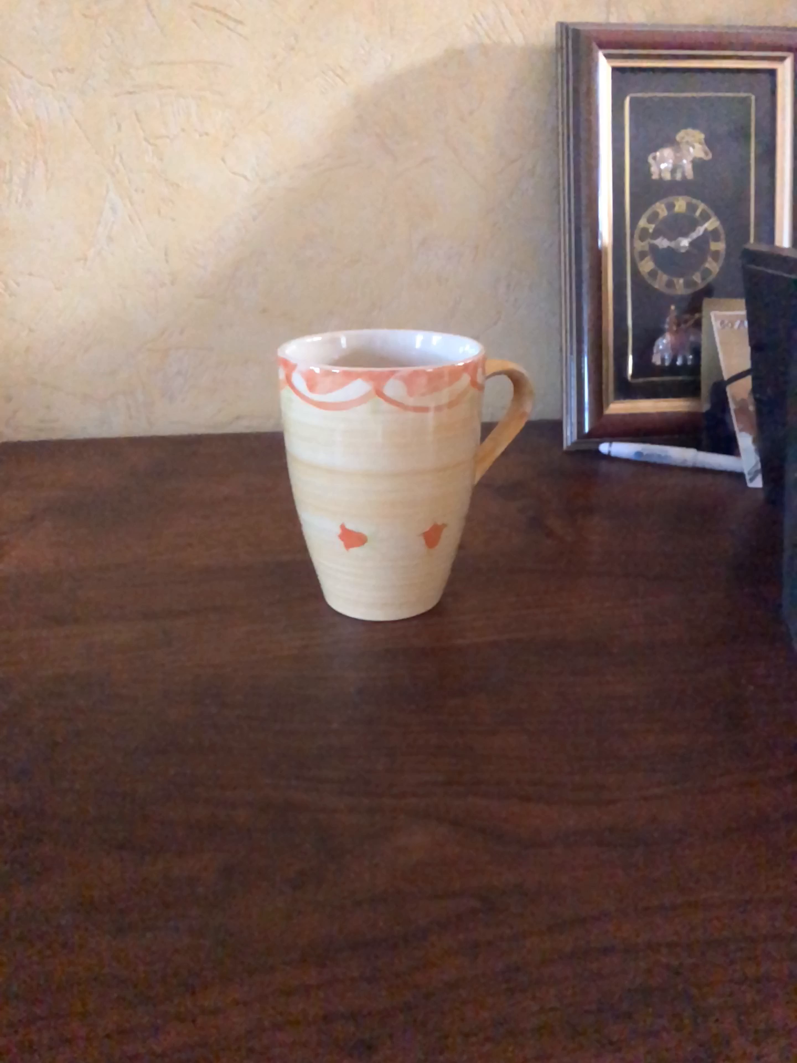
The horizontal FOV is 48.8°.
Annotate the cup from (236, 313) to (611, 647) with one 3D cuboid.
[{"bbox_3d":[0.009,-0.032,0.382,0.120,0.099,0.100,-14,26,-29],"label":"cup"}]
